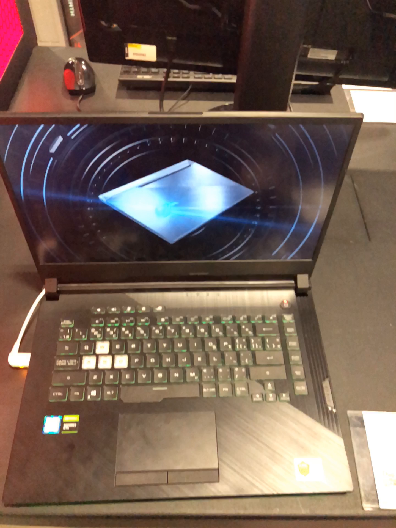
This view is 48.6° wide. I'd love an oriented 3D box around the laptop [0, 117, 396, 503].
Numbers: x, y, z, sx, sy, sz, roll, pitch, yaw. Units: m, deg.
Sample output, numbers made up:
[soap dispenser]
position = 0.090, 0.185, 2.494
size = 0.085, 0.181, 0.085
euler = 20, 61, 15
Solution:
[laptop]
position = -0.018, 0.056, 0.434
size = 0.360, 0.269, 0.276
euler = -1, 55, -3
